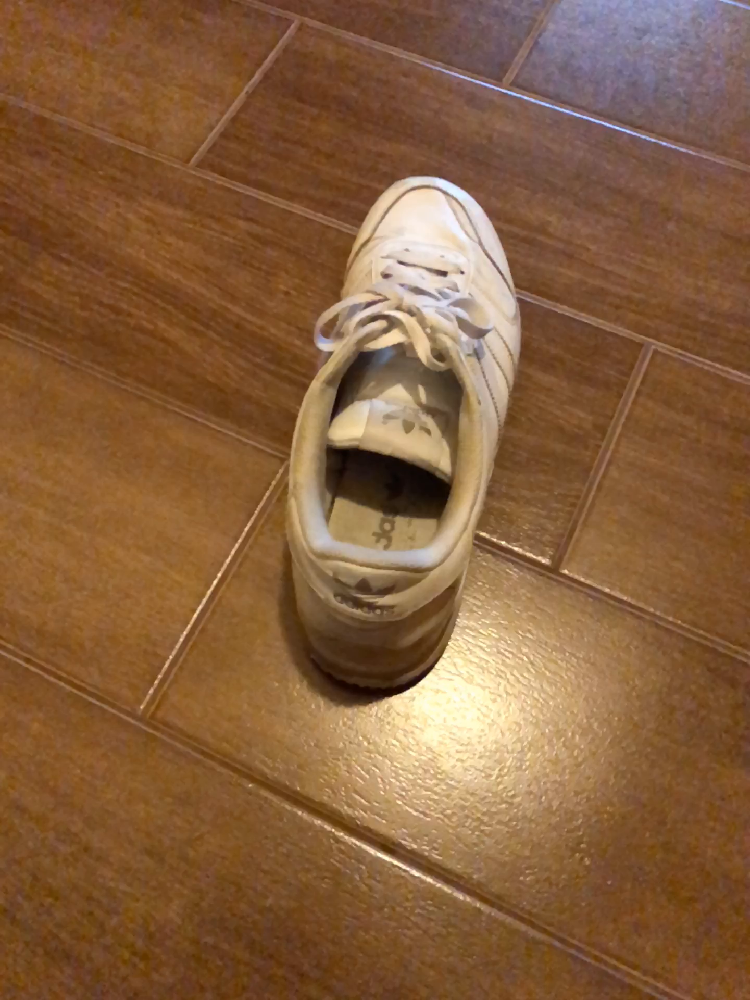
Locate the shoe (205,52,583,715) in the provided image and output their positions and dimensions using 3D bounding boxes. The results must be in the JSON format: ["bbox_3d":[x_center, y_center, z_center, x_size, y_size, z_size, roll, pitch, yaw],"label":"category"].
[{"bbox_3d":[0.022,-0.066,0.431,0.120,0.119,0.311,10,66,4],"label":"shoe"}]
